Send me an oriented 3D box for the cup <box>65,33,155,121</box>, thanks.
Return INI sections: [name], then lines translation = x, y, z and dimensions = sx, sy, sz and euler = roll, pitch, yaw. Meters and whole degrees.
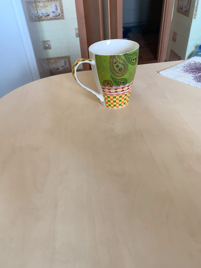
[cup]
translation = 0.013, -0.113, 0.396
dimensions = 0.130, 0.109, 0.111
euler = -12, 39, -9
